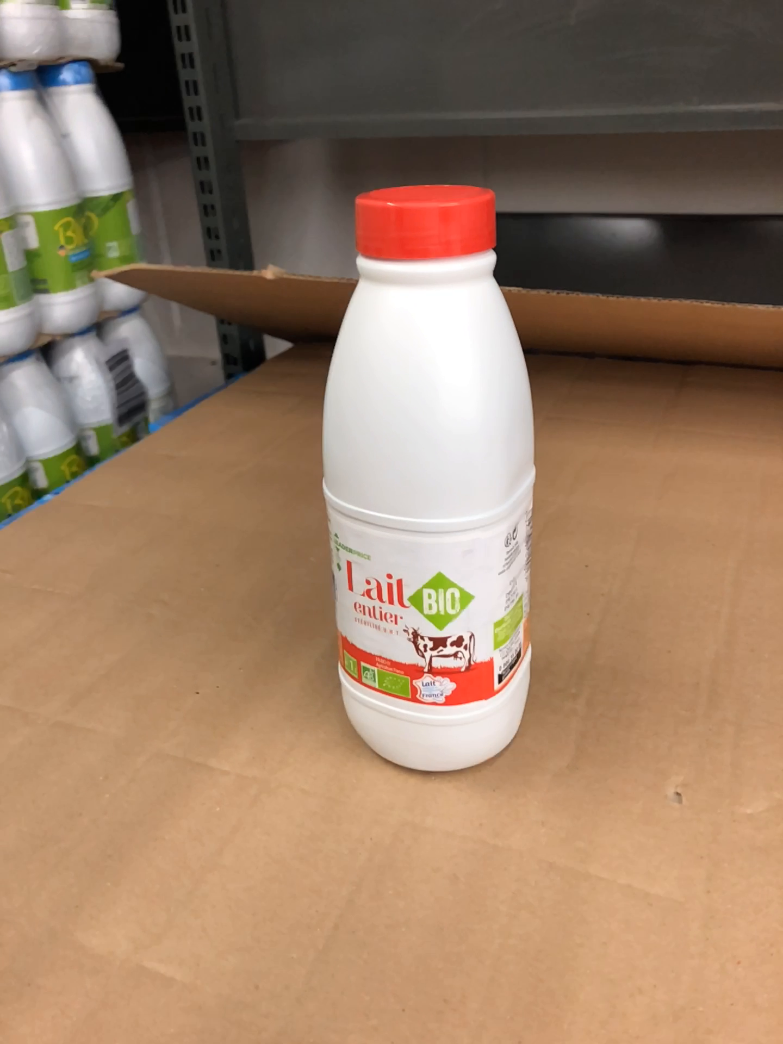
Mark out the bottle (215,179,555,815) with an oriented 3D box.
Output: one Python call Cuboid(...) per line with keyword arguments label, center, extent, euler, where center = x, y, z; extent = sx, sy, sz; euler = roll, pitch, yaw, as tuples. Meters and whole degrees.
Cuboid(label="bottle", center=(0.007, -0.008, 0.342), extent=(0.090, 0.229, 0.081), euler=(8, 30, 20))
